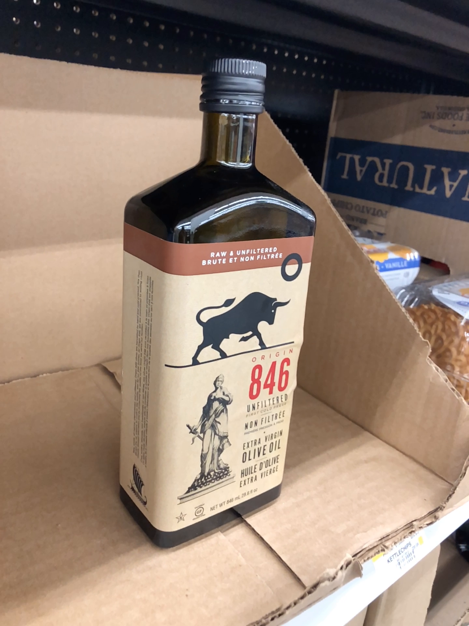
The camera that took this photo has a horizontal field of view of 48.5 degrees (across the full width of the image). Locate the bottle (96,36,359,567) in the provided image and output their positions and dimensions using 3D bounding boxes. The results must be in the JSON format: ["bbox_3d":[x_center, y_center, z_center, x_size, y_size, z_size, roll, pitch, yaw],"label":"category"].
[{"bbox_3d":[-0.012,-0.001,0.282,0.100,0.248,0.060,-9,25,-38],"label":"bottle"}]
